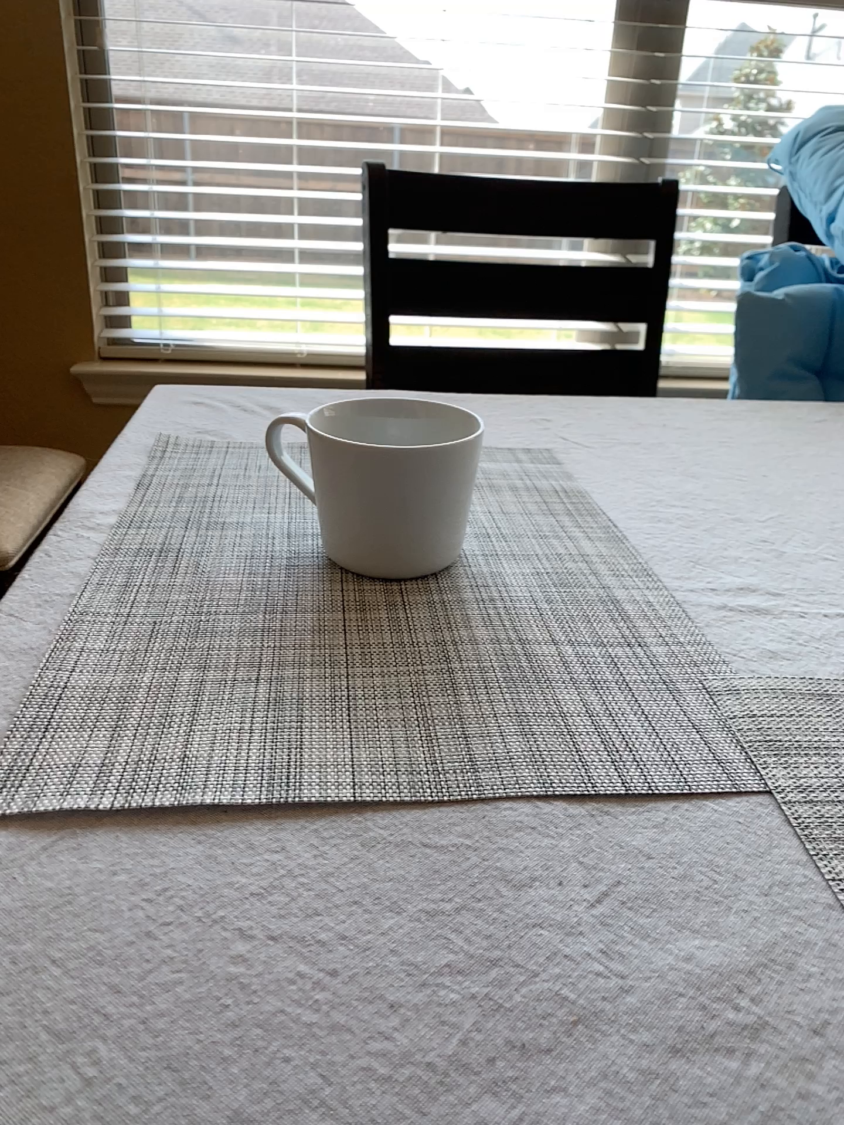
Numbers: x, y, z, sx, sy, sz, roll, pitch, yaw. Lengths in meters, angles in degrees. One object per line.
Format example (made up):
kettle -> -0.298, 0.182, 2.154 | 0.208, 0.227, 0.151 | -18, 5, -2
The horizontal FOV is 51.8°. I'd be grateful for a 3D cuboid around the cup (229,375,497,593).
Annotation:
cup -> -0.031, -0.051, 0.505 | 0.121, 0.081, 0.100 | 11, 25, 16
